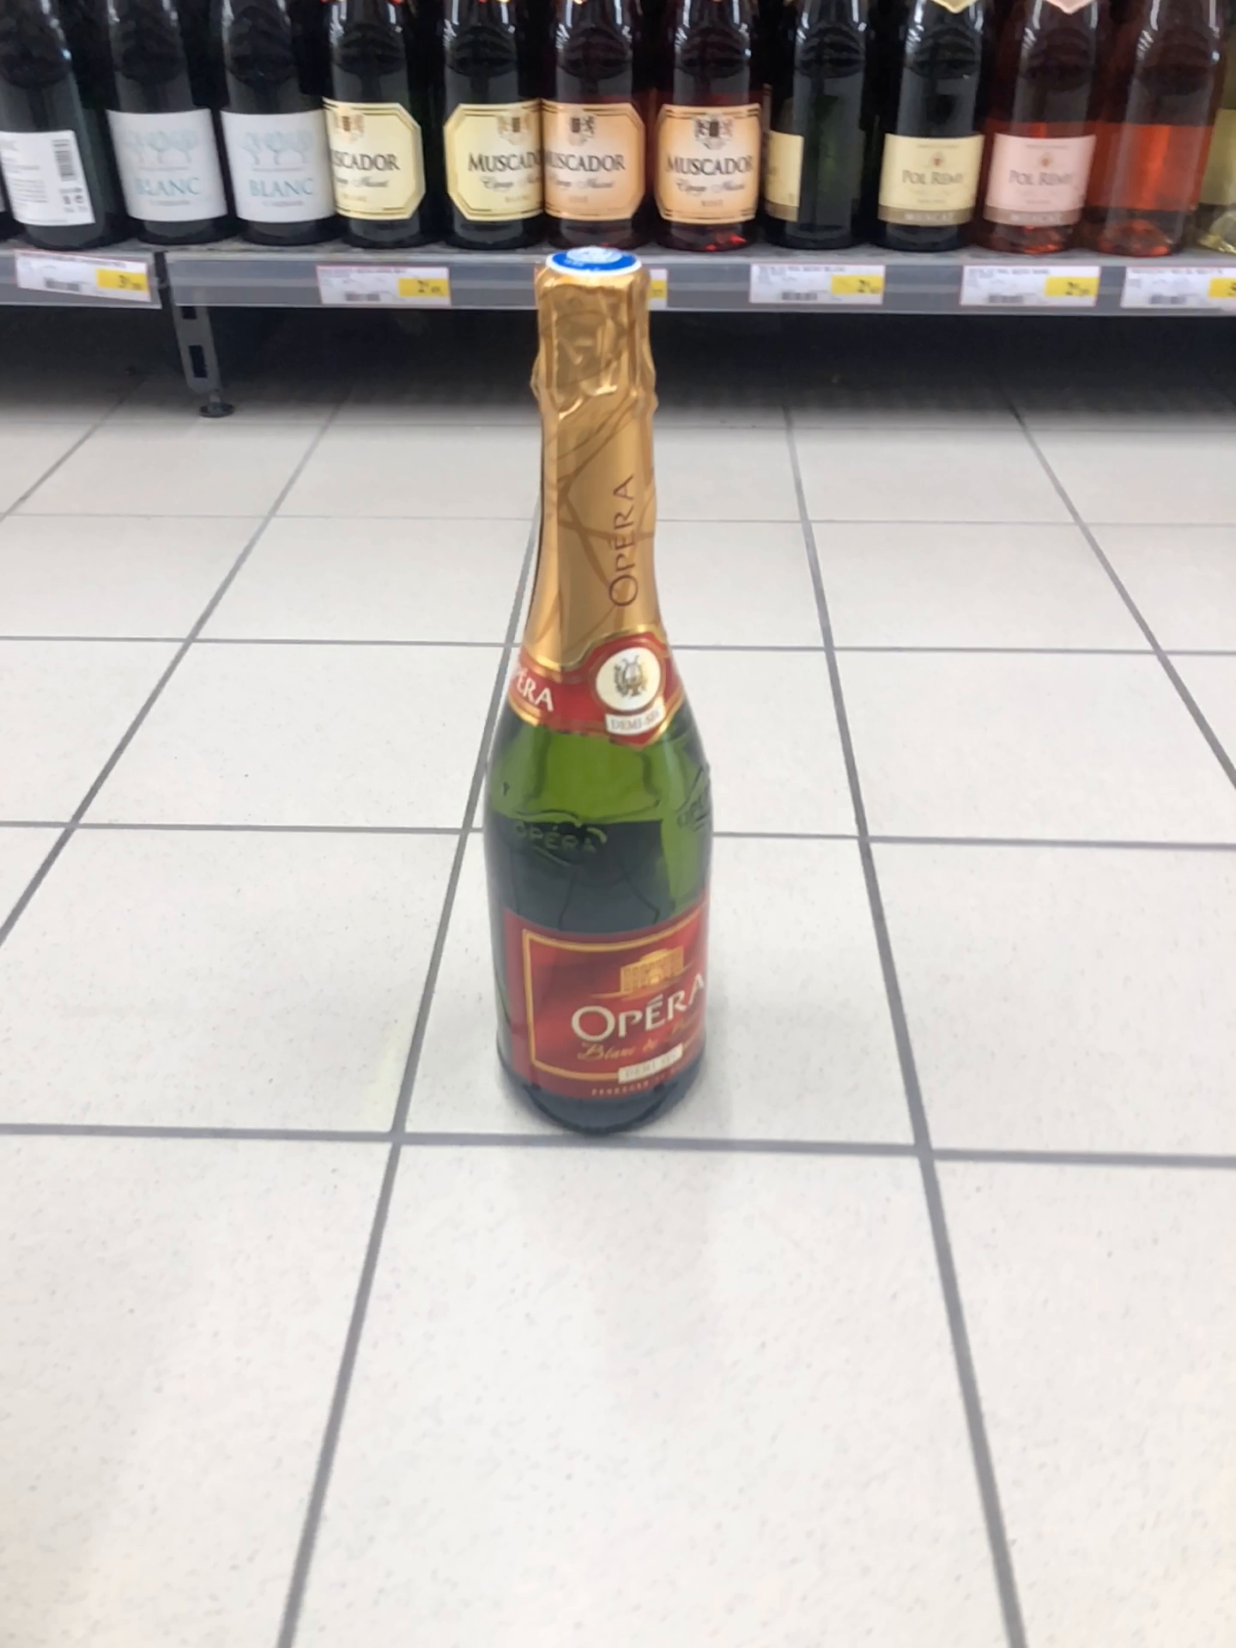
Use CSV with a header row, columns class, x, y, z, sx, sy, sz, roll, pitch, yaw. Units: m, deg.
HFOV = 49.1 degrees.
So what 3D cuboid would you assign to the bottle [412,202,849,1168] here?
class,x,y,z,sx,sy,sz,roll,pitch,yaw
bottle,0.001,-0.035,0.450,0.090,0.298,0.090,0,34,0
